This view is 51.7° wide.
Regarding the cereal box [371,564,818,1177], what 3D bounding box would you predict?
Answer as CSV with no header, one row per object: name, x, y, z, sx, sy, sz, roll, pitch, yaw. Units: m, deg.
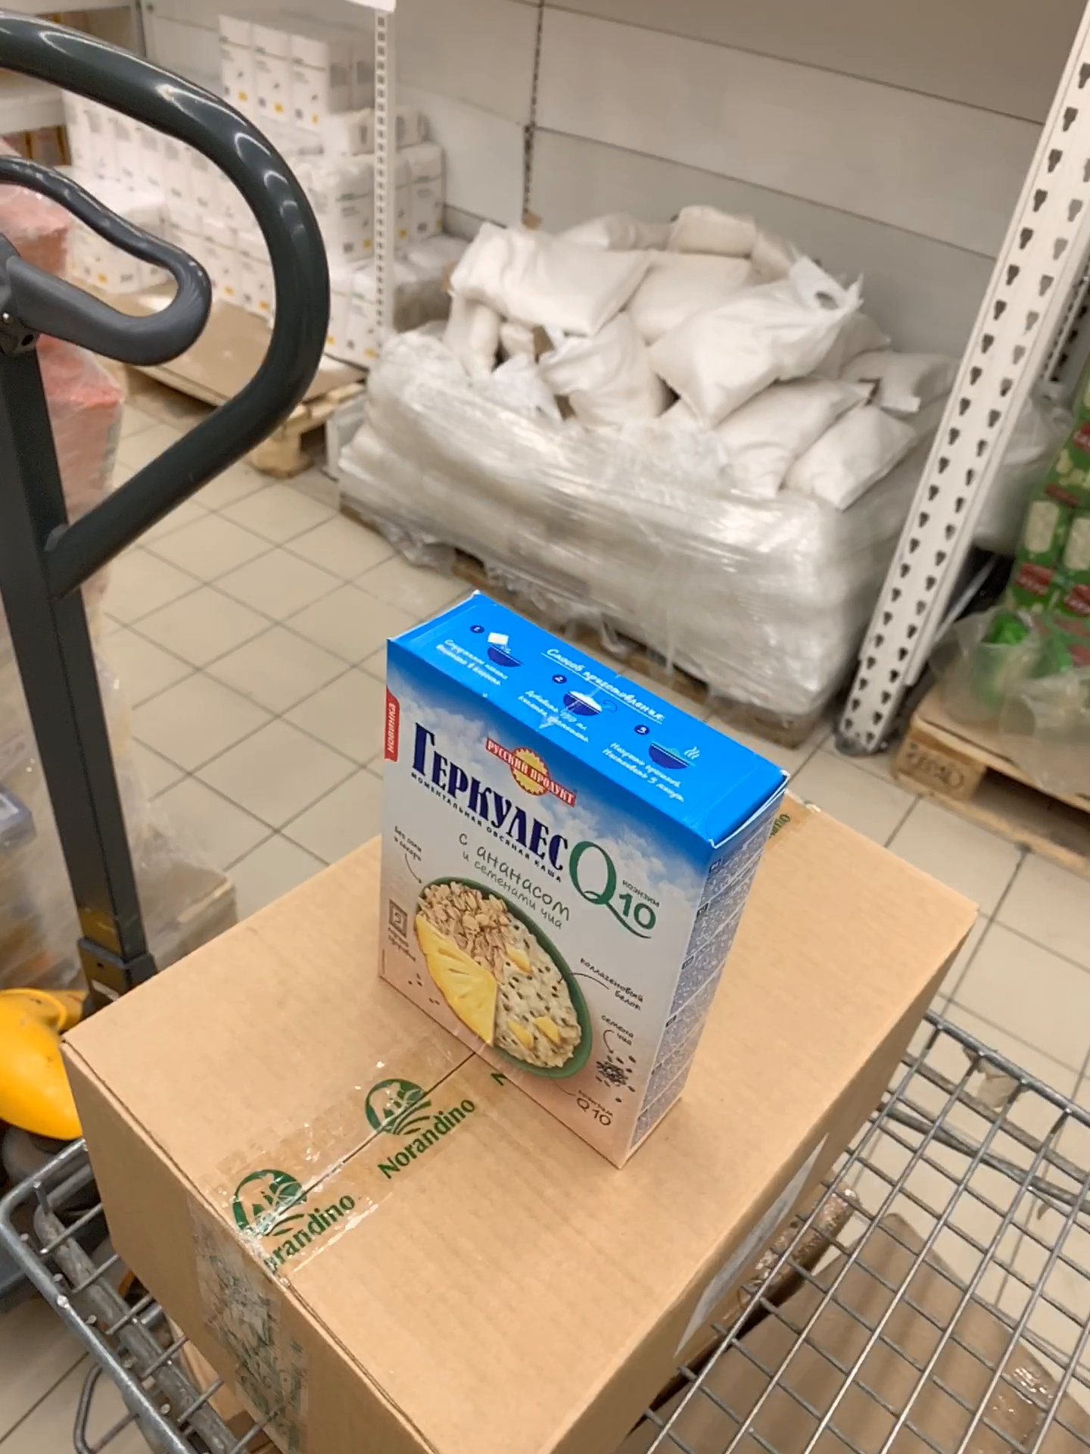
cereal box,0.004,0.061,0.441,0.150,0.199,0.050,31,46,25
